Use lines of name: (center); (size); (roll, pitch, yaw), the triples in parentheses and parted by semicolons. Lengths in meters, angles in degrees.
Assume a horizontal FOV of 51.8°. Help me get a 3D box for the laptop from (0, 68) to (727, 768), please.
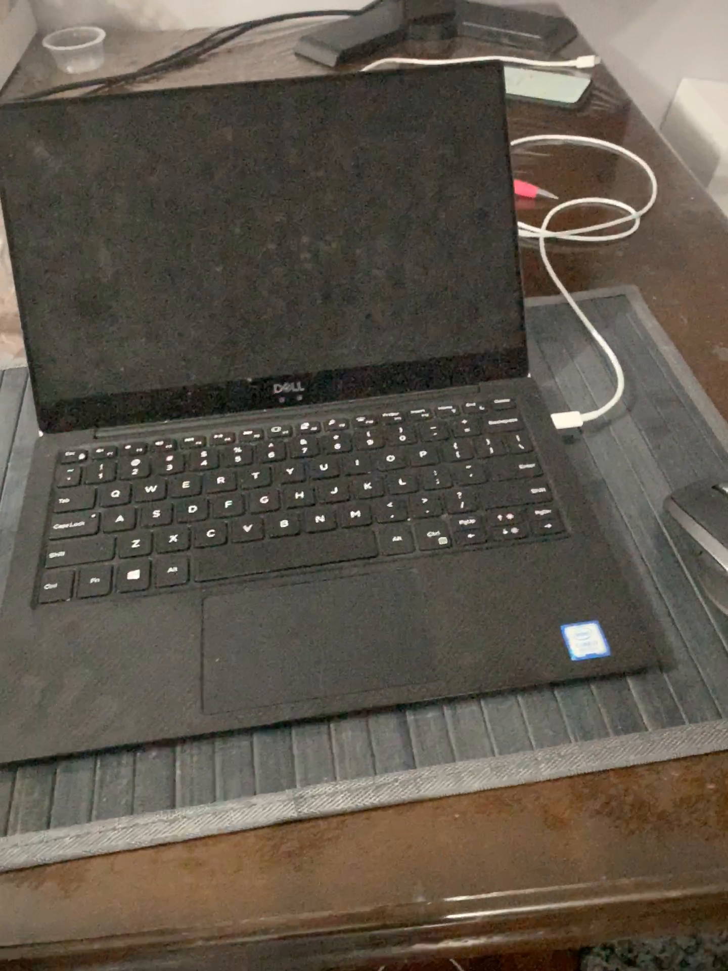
laptop: (-0.045, -0.061, 0.353); (0.281, 0.129, 0.299); (-7, 48, -4)
